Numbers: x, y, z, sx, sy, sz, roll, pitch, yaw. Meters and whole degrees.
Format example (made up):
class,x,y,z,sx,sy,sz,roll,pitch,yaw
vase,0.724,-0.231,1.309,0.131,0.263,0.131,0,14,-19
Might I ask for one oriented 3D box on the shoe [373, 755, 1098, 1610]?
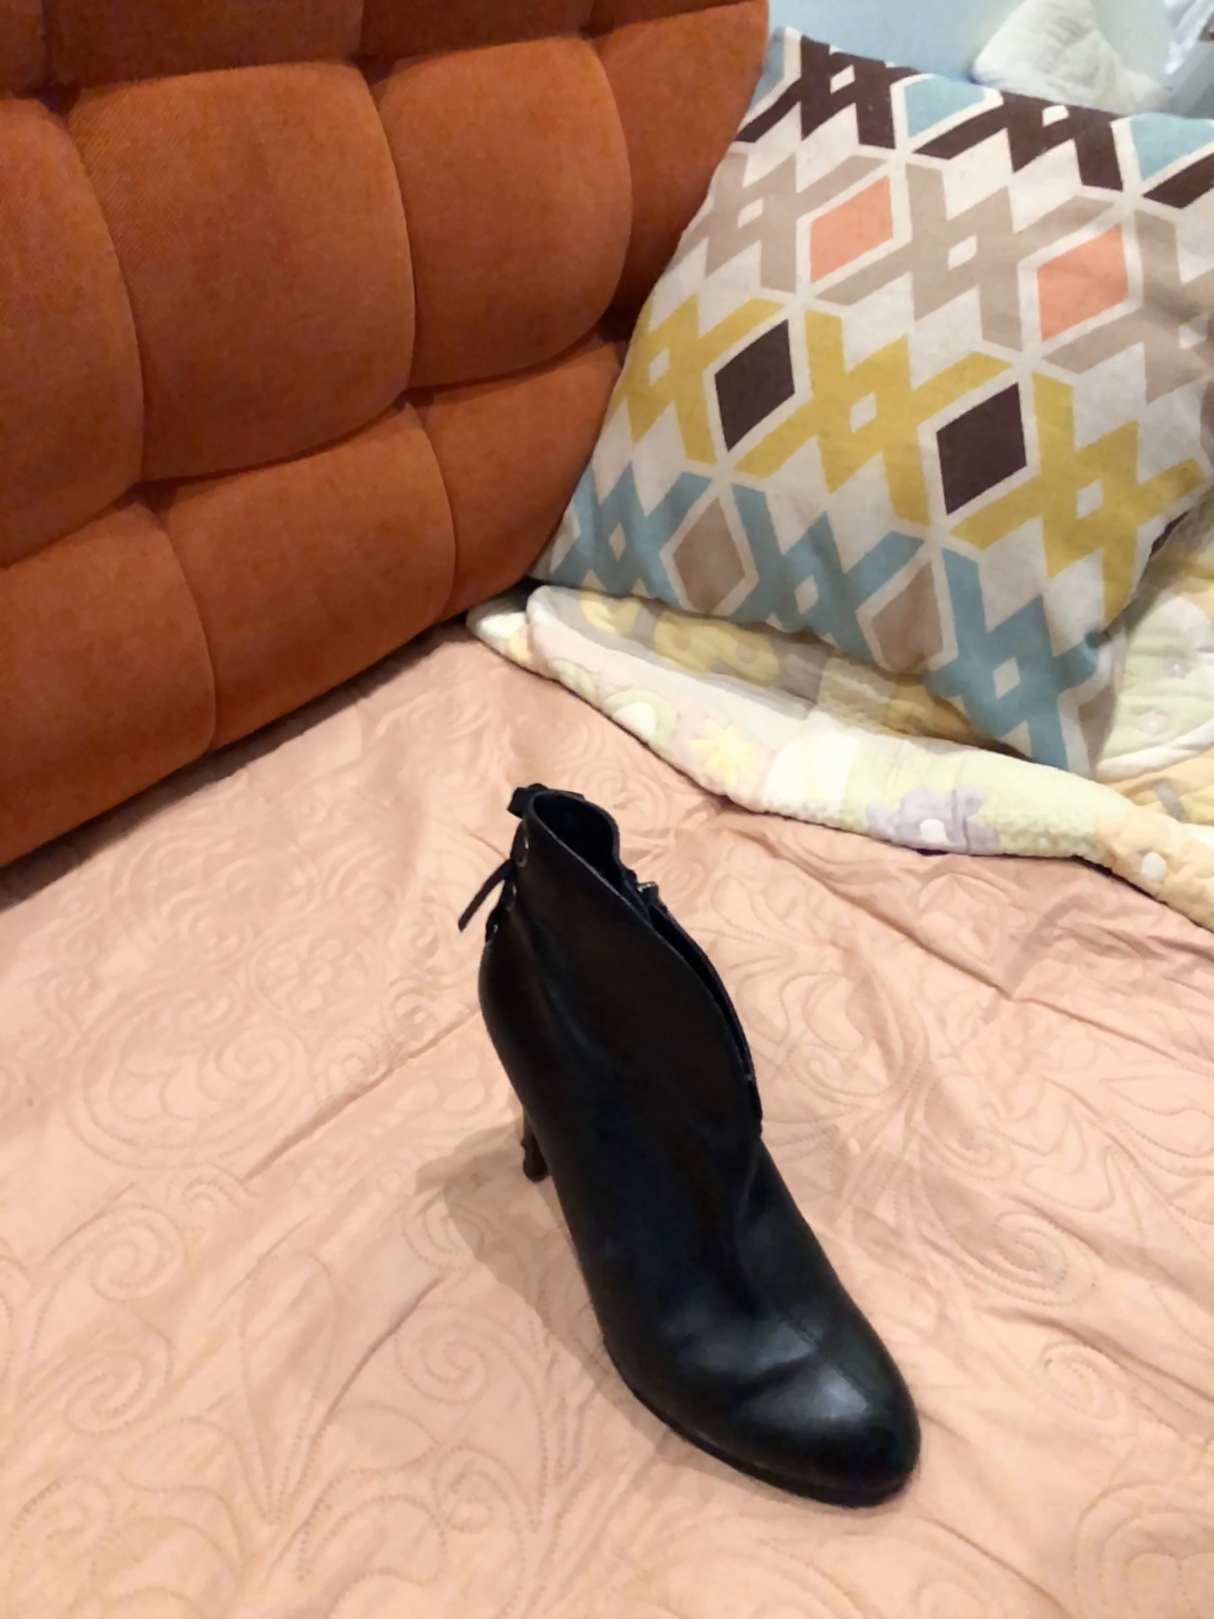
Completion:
class,x,y,z,sx,sy,sz,roll,pitch,yaw
shoe,0.024,0.118,0.464,0.096,0.169,0.221,-26,48,-36
